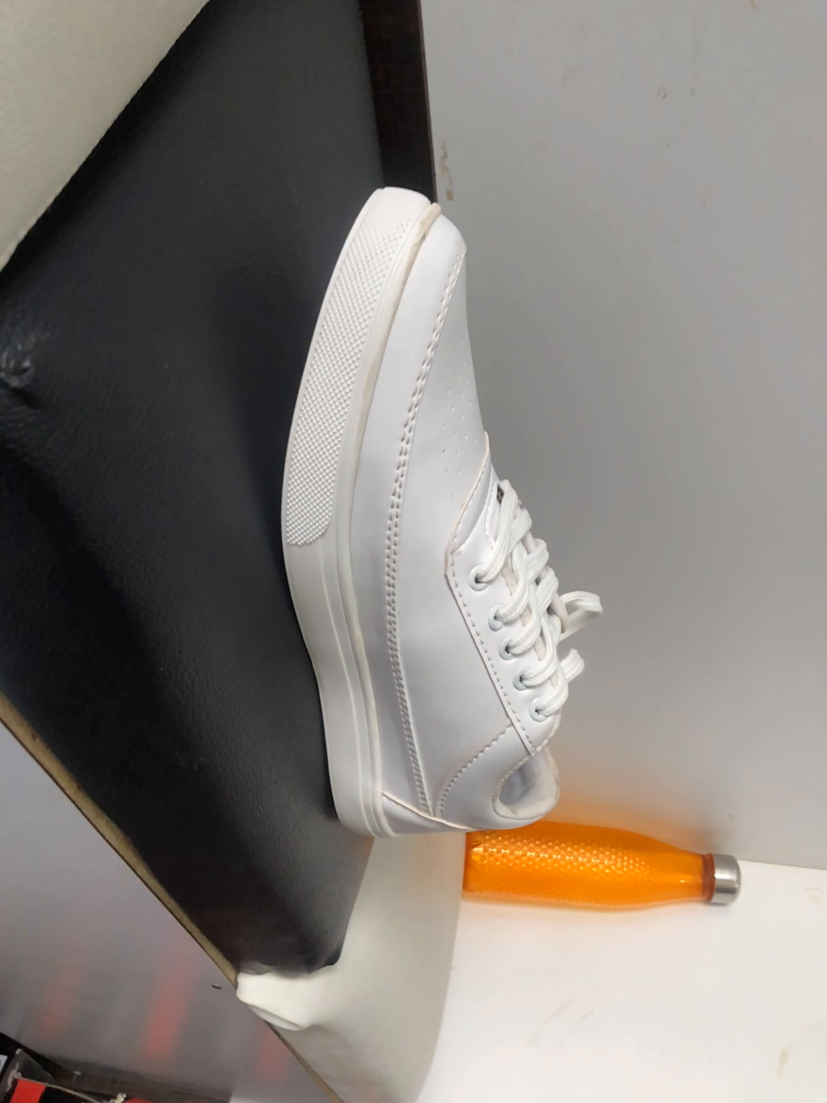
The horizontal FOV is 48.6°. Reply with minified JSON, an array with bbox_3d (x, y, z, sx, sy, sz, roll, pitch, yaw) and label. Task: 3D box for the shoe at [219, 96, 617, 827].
[{"bbox_3d":[0.021,-0.021,0.399,0.130,0.110,0.291,-76,165,-46],"label":"shoe"}]
